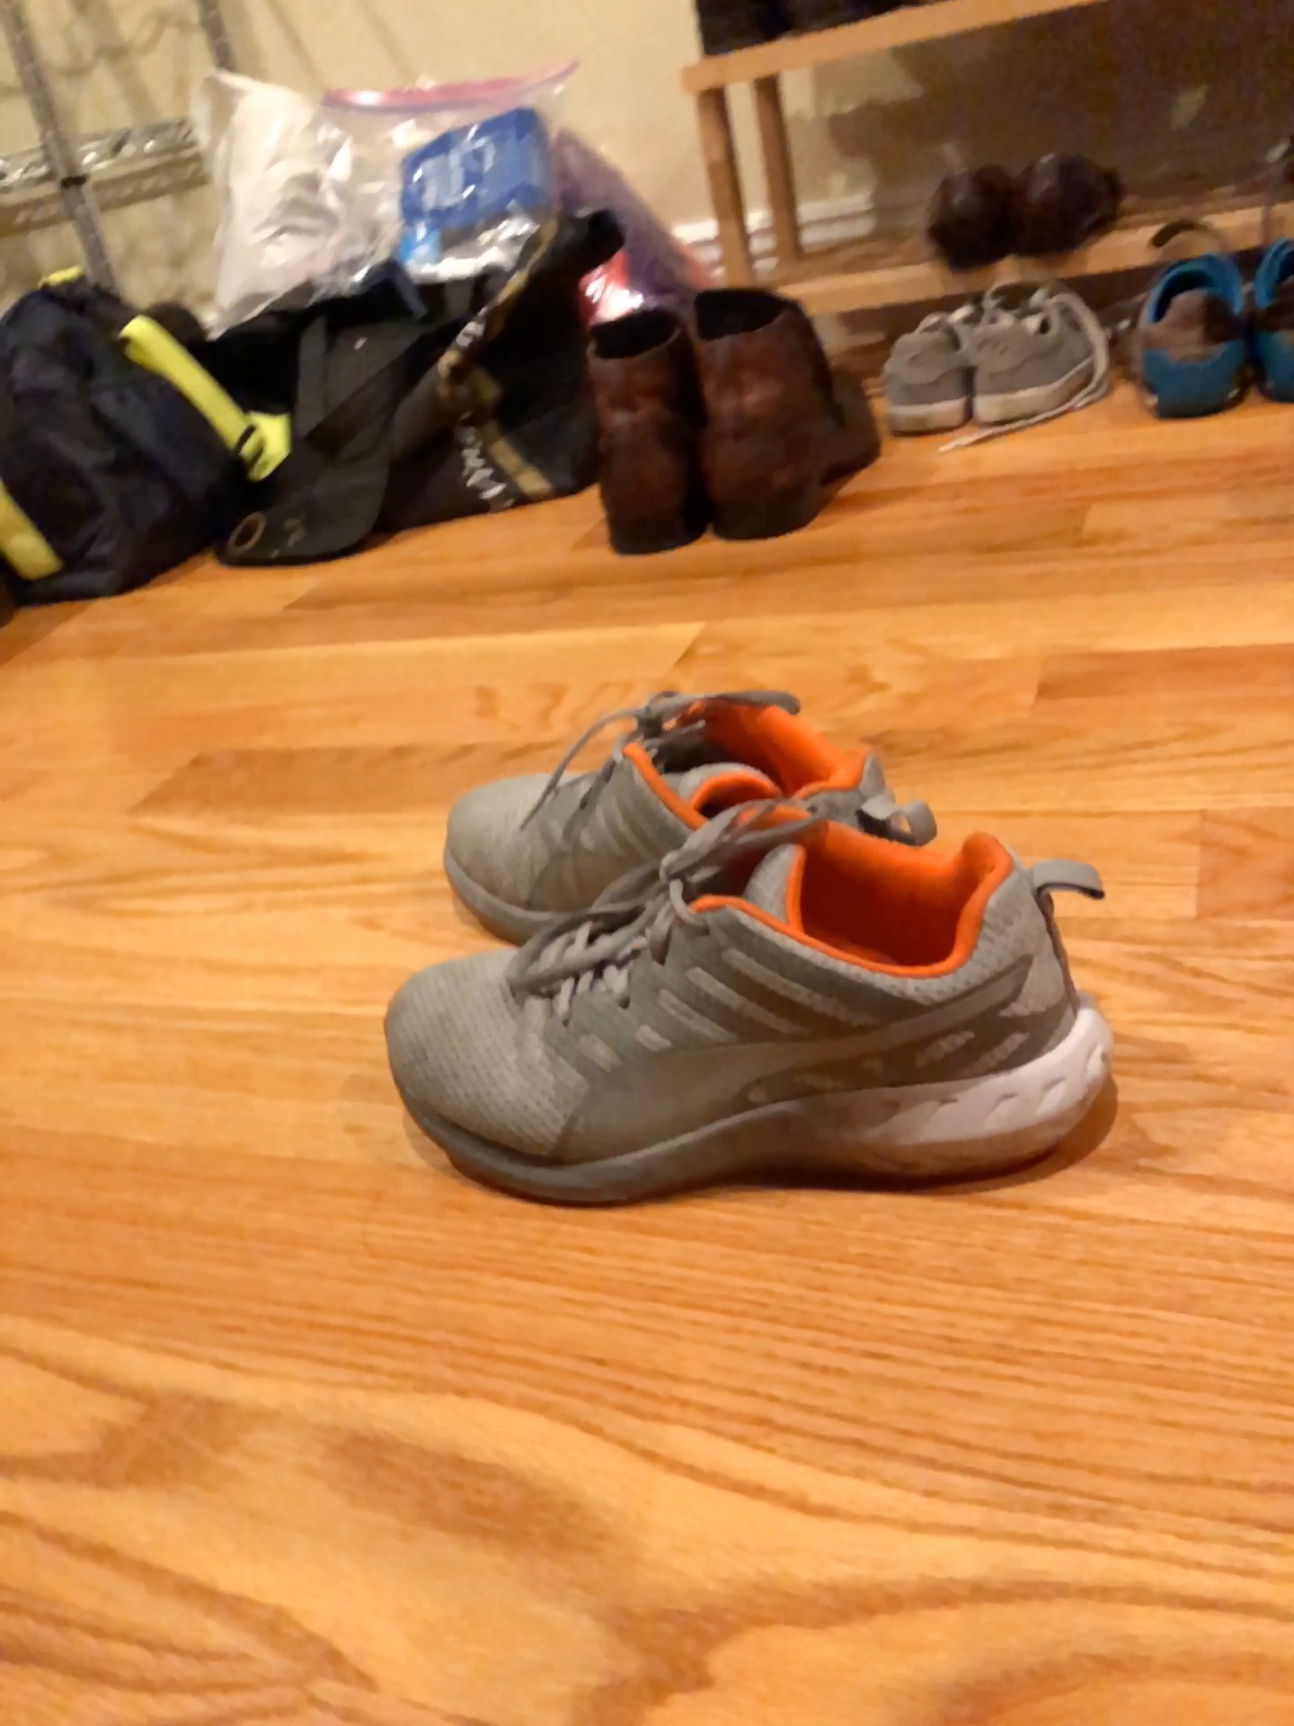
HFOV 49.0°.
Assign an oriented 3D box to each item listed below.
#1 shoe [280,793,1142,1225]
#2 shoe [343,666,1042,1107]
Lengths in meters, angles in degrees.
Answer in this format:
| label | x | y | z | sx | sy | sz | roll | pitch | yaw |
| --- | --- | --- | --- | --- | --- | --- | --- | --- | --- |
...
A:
| label | x | y | z | sx | sy | sz | roll | pitch | yaw |
| --- | --- | --- | --- | --- | --- | --- | --- | --- | --- |
| shoe | 0.026 | 0.048 | 0.467 | 0.250 | 0.080 | 0.111 | -4 | 30 | 17 |
| shoe | 0.013 | -0.004 | 0.562 | 0.250 | 0.099 | 0.100 | 10 | 36 | 37 |
